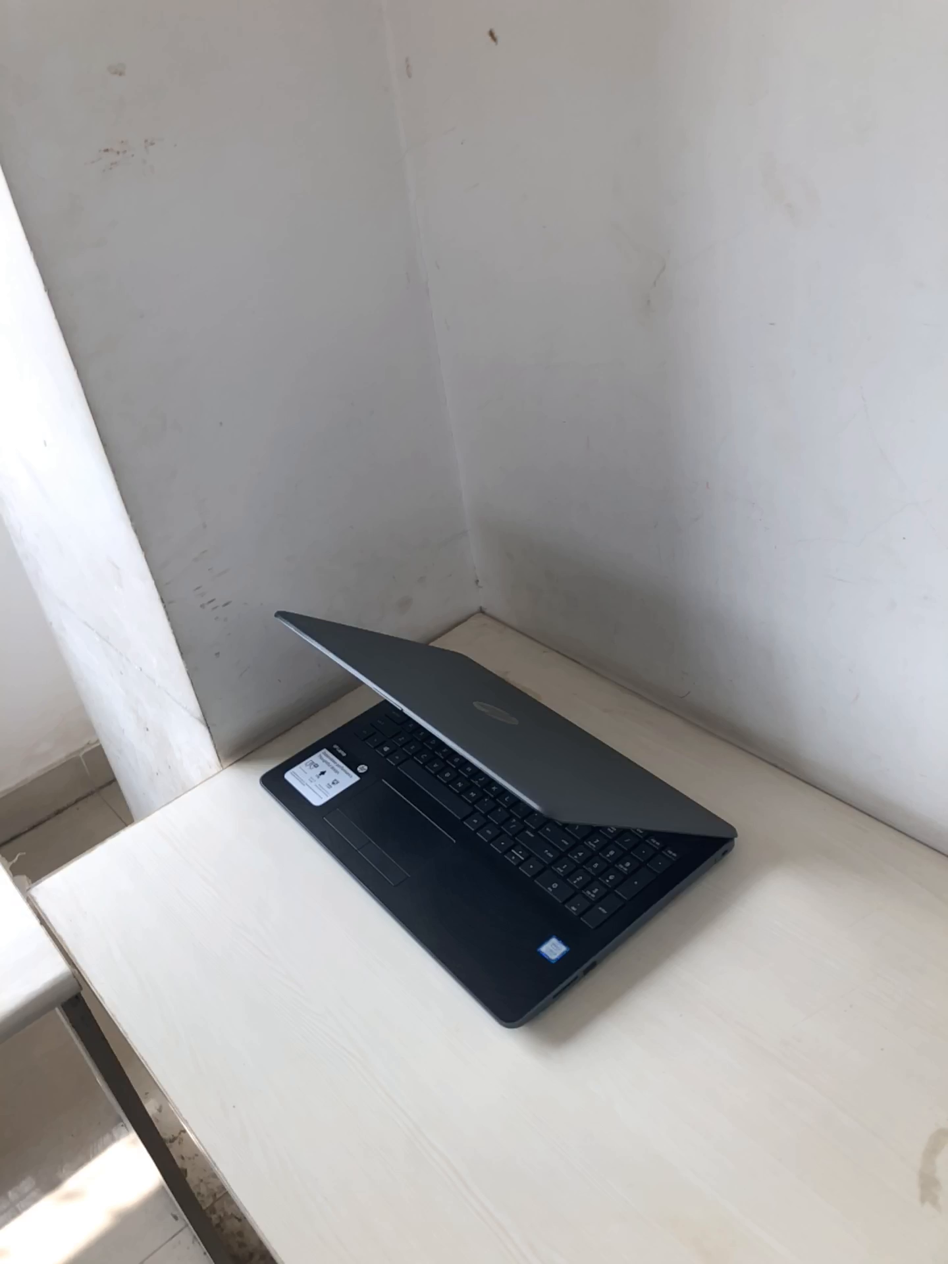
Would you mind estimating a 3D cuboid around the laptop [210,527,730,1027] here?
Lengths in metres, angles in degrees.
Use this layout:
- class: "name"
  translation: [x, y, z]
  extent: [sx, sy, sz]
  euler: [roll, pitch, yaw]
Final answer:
- class: "laptop"
  translation: [-0.007, 0.087, 0.863]
  extent: [0.245, 0.157, 0.357]
  euler: [-30, 41, -29]
